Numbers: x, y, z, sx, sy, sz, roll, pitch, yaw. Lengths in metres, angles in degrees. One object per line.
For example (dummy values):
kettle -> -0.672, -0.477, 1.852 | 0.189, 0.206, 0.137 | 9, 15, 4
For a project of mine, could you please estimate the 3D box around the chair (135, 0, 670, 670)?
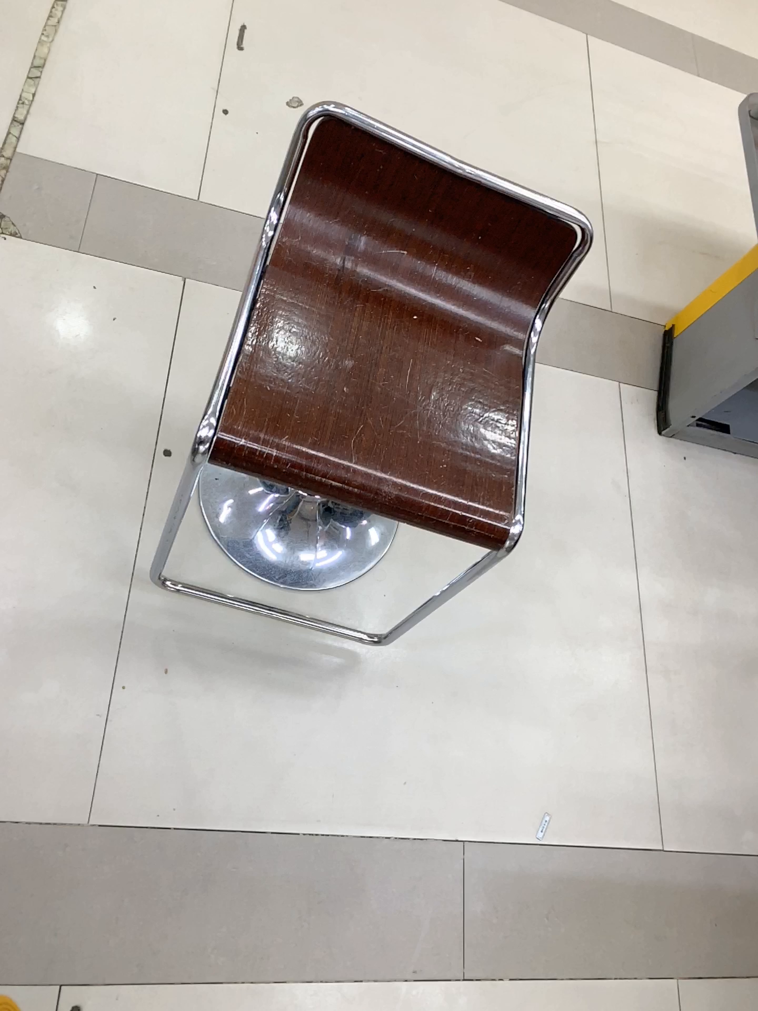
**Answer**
chair -> -0.022, -0.127, 1.045 | 0.440, 0.707, 0.482 | 17, 64, -13
